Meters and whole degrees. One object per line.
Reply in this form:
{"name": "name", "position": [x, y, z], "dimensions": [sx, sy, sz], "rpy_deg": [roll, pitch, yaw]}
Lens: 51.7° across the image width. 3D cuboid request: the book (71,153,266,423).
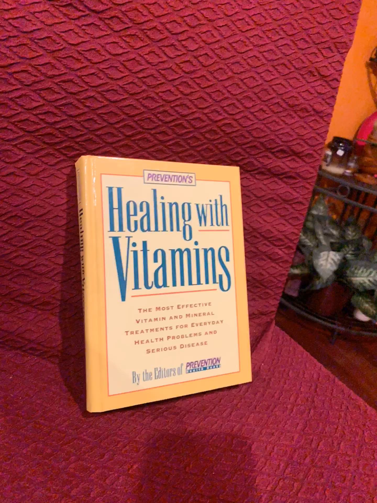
{"name": "book", "position": [-0.017, 0.029, 0.405], "dimensions": [0.190, 0.240, 0.040], "rpy_deg": [-2, -2, -25]}
